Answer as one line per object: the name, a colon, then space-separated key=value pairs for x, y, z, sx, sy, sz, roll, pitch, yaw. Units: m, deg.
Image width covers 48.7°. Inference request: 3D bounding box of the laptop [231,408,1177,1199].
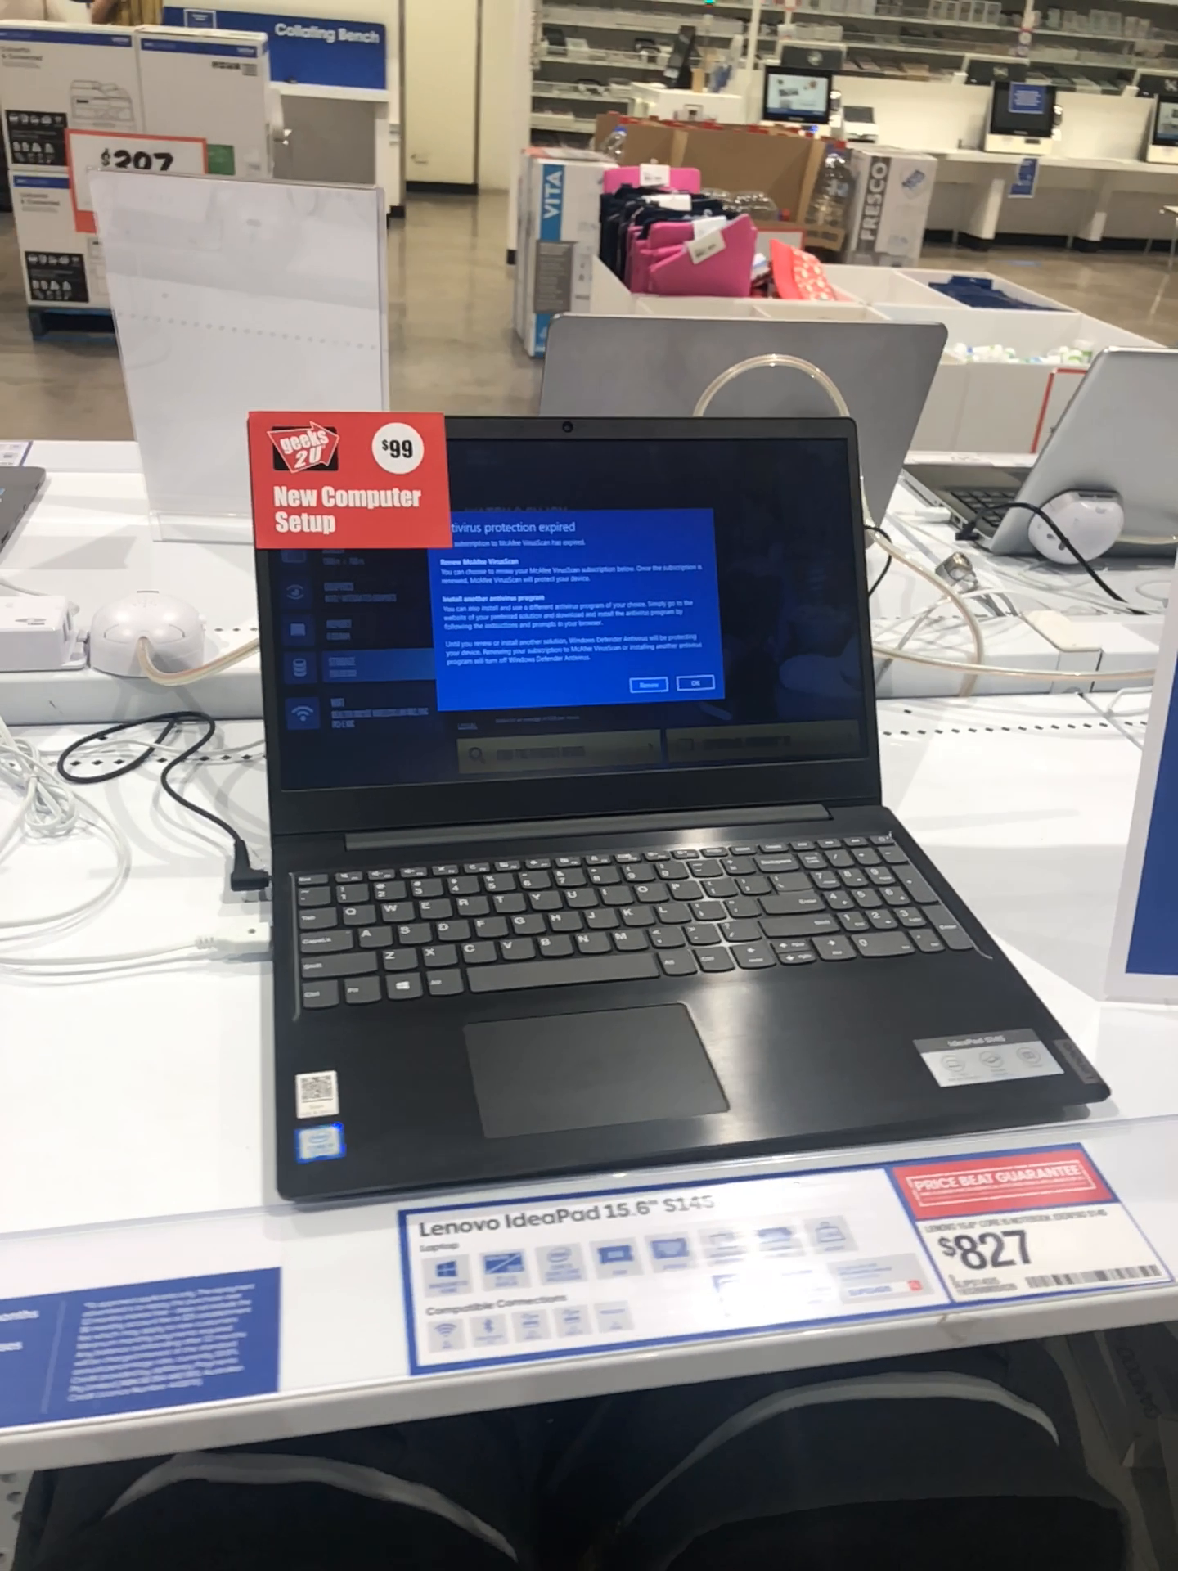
laptop: x=0.016 y=-0.034 z=0.635 sx=0.353 sy=0.192 sz=0.370 roll=-3 pitch=32 yaw=-13
